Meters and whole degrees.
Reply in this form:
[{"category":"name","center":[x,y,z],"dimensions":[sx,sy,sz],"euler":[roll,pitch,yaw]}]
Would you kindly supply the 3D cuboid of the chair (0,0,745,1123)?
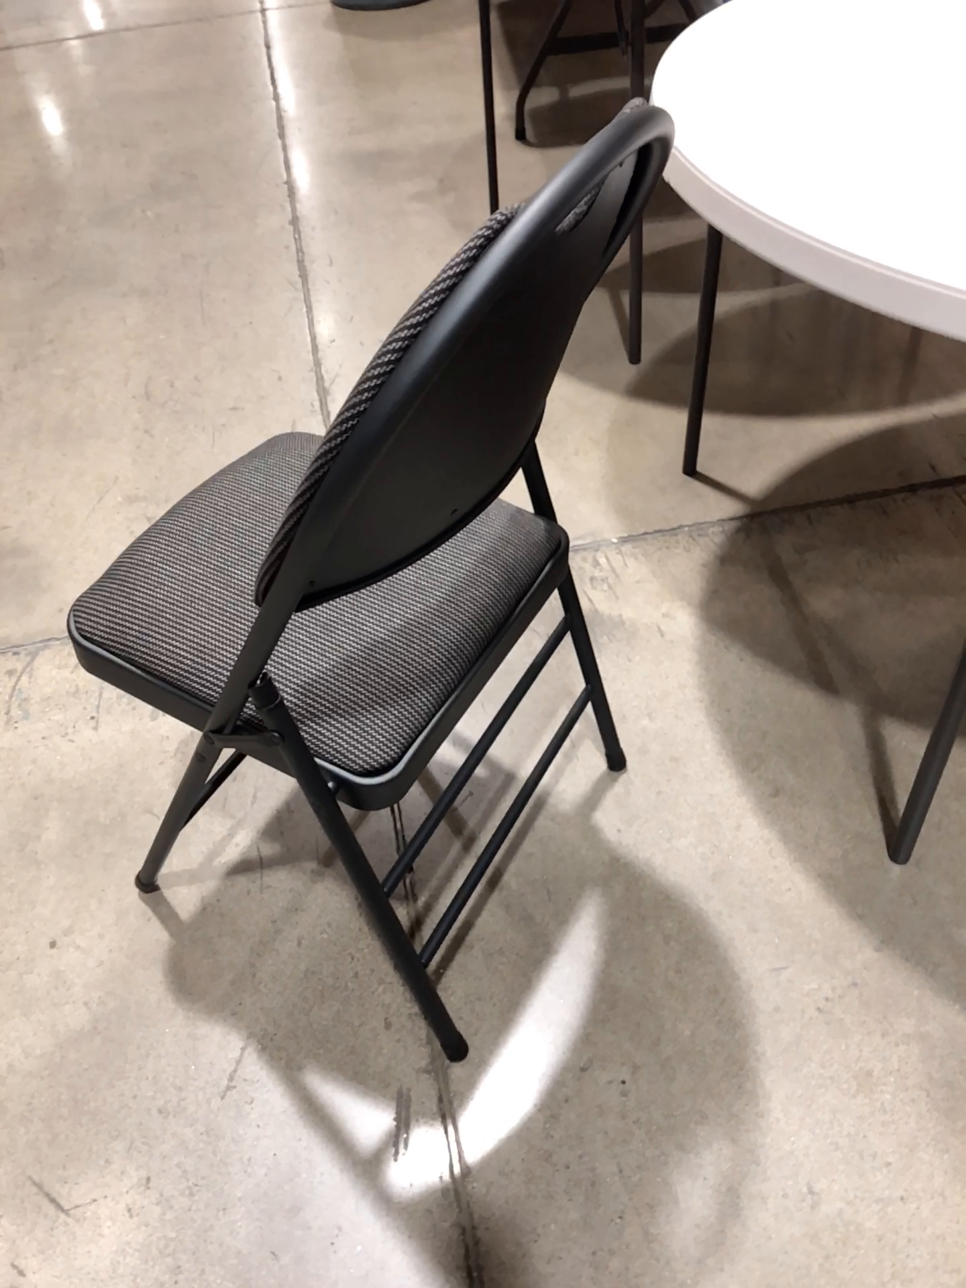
[{"category":"chair","center":[-0.162,-0.086,1.012],"dimensions":[0.561,0.857,0.511],"euler":[22,51,25]}]
